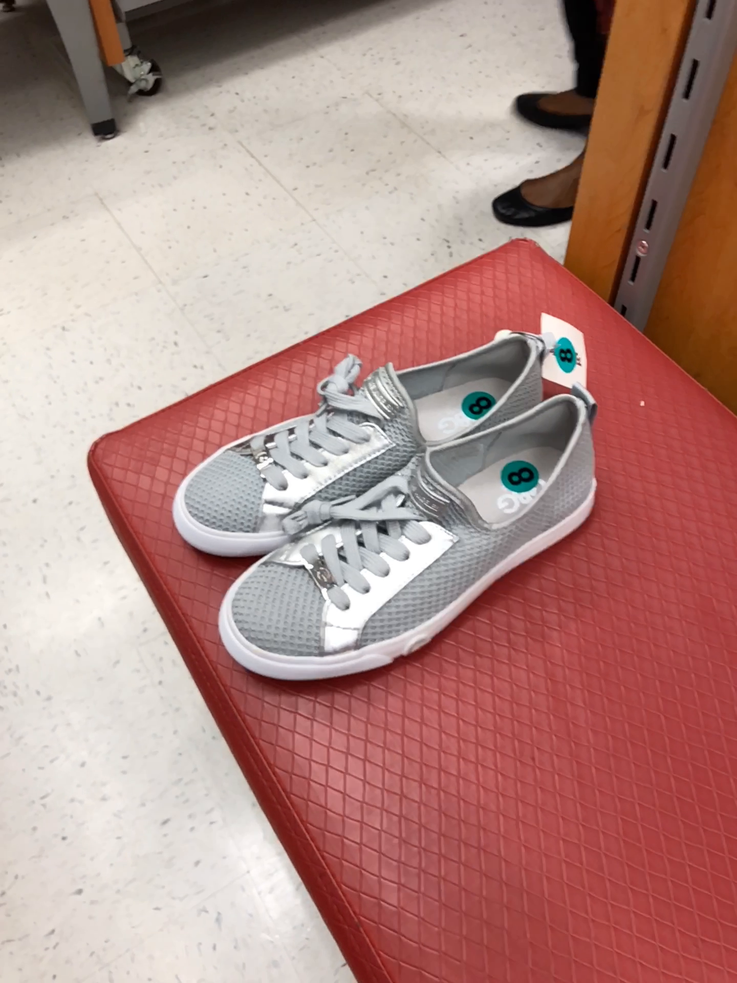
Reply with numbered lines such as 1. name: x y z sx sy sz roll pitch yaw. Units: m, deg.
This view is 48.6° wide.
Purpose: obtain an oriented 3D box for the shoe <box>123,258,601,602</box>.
1. shoe: -0.003 -0.043 0.531 0.268 0.097 0.106 -21 57 -11

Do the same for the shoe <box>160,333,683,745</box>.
1. shoe: 0.032 0.022 0.483 0.268 0.095 0.106 -25 58 -15
